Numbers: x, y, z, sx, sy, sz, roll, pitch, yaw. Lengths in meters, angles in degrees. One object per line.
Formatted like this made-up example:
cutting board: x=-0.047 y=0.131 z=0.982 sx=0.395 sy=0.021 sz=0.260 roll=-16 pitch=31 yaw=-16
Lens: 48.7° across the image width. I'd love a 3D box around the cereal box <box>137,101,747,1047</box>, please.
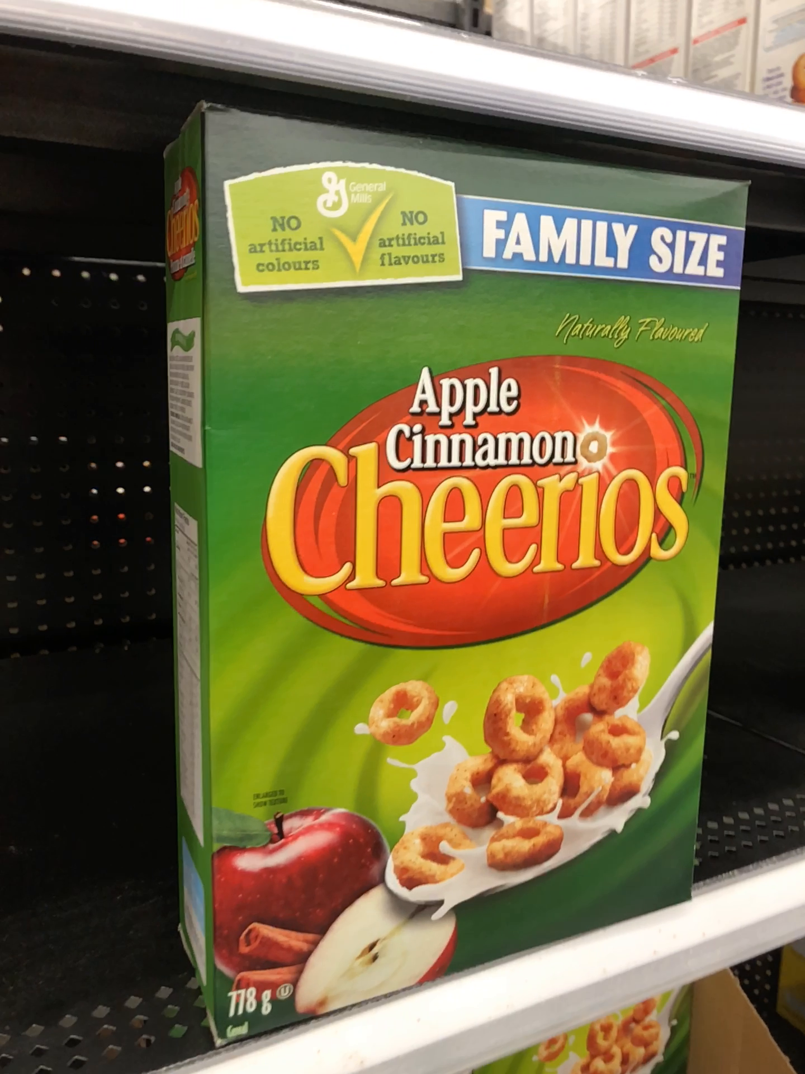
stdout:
cereal box: x=0.020 y=0.012 z=0.390 sx=0.240 sy=0.329 sz=0.080 roll=-4 pitch=10 yaw=-25
